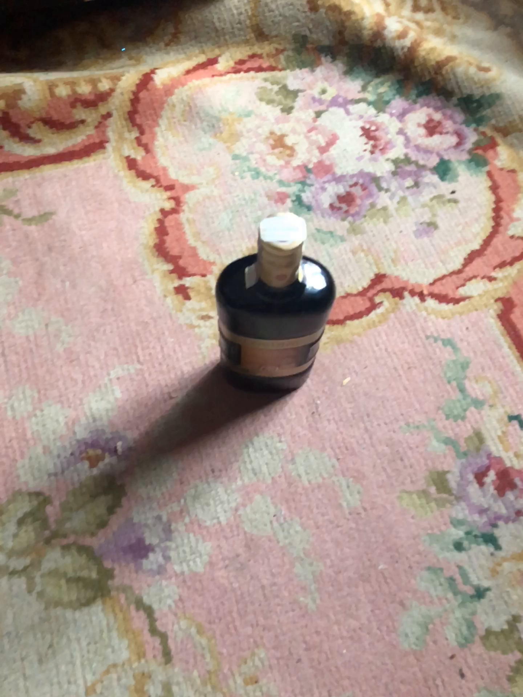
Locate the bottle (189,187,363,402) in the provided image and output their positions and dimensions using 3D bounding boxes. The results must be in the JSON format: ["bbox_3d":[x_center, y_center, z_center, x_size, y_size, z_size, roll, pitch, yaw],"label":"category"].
[{"bbox_3d":[0.005,-0.023,0.446,0.100,0.239,0.050,3,66,-1],"label":"bottle"}]
